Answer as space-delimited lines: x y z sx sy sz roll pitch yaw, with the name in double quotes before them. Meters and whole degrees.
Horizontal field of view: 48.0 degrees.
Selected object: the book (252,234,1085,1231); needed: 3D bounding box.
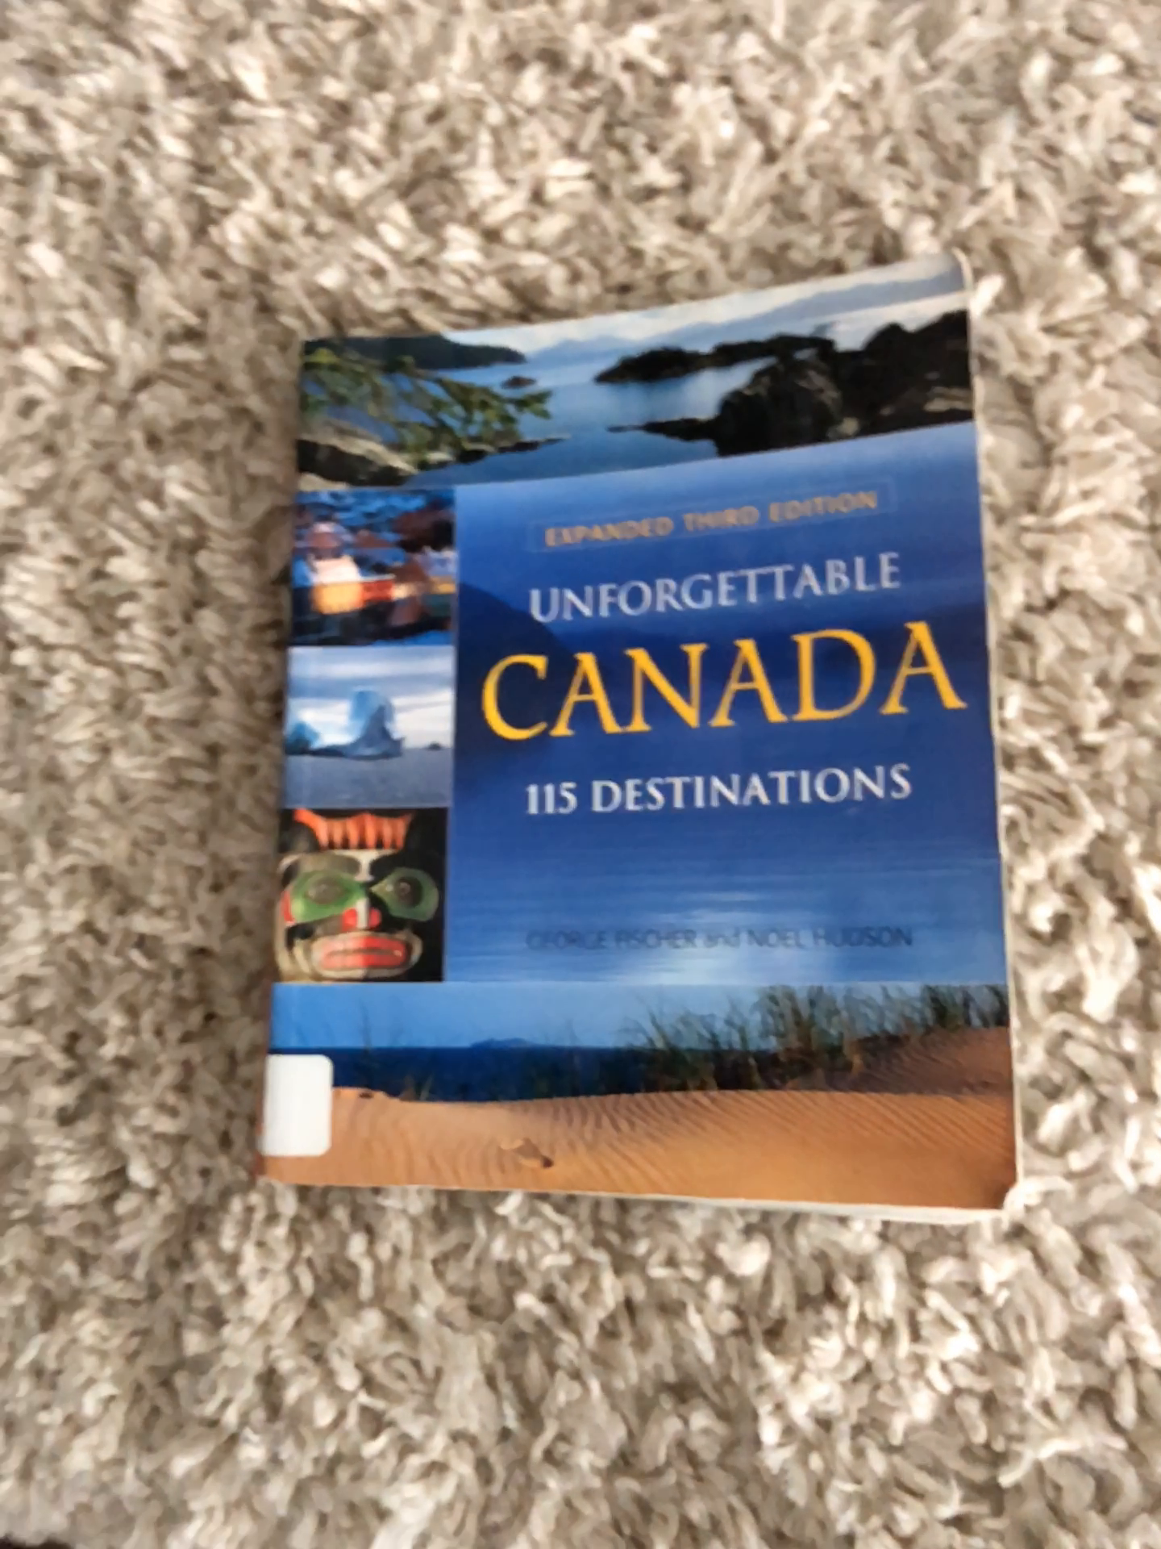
"book" 0.019 -0.010 0.346 0.200 0.040 0.234 -2 80 16
